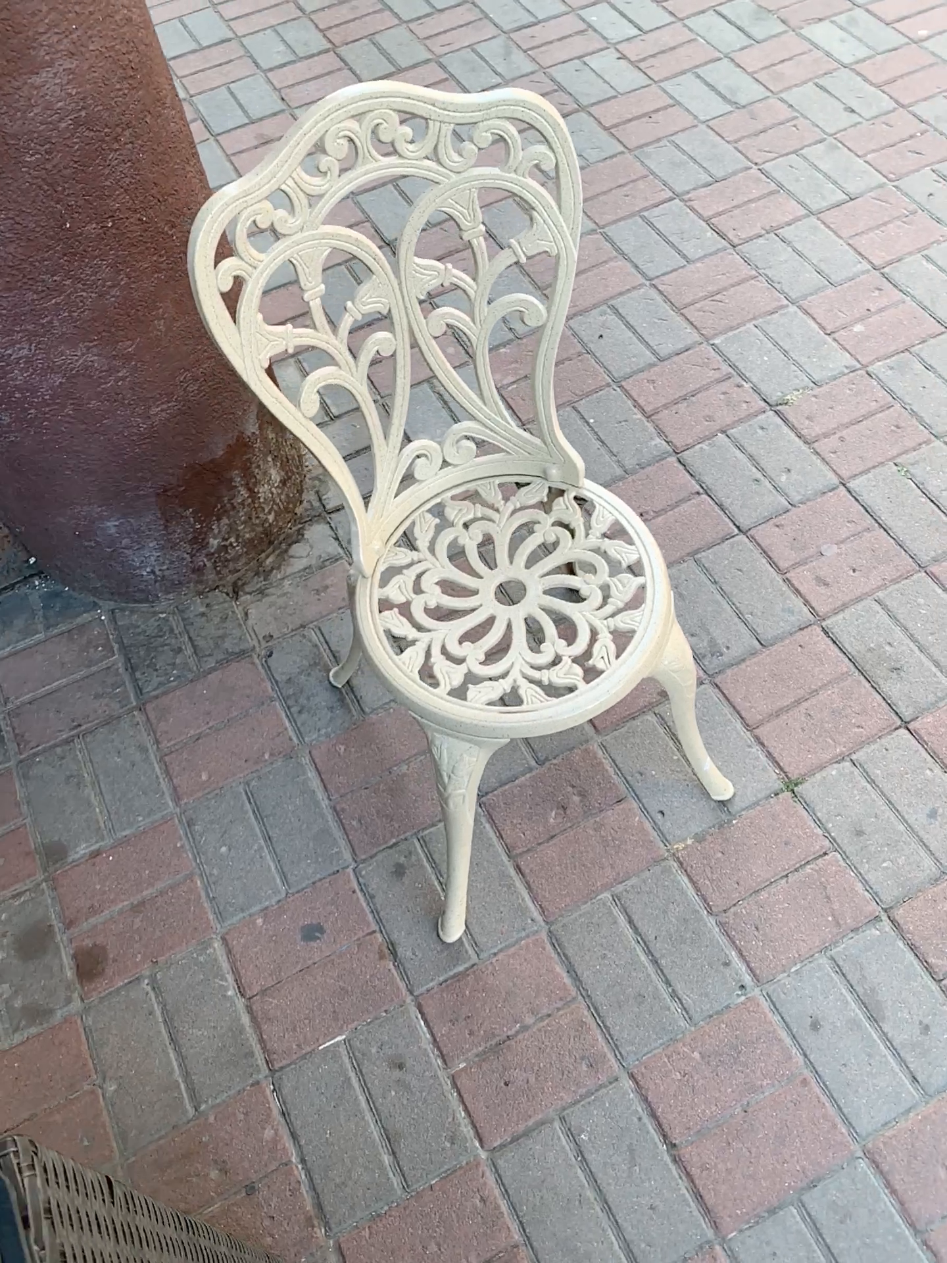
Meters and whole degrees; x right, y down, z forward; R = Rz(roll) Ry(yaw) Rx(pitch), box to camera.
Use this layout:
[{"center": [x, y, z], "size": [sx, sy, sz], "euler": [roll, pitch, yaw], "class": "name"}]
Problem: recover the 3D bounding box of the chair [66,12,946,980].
[{"center": [0.016, -0.073, 1.068], "size": [0.480, 0.798, 0.551], "euler": [-24, 59, -10], "class": "chair"}]
